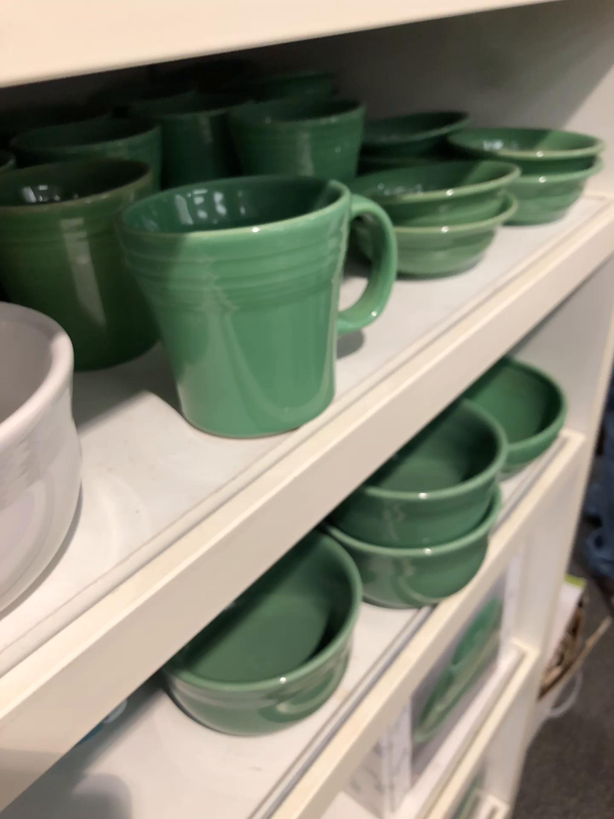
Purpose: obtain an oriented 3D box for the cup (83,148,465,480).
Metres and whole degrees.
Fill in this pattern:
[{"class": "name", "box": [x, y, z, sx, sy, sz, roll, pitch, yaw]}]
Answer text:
[{"class": "cup", "box": [-0.014, -0.057, 0.335, 0.134, 0.098, 0.107, -24, 38, -30]}]
